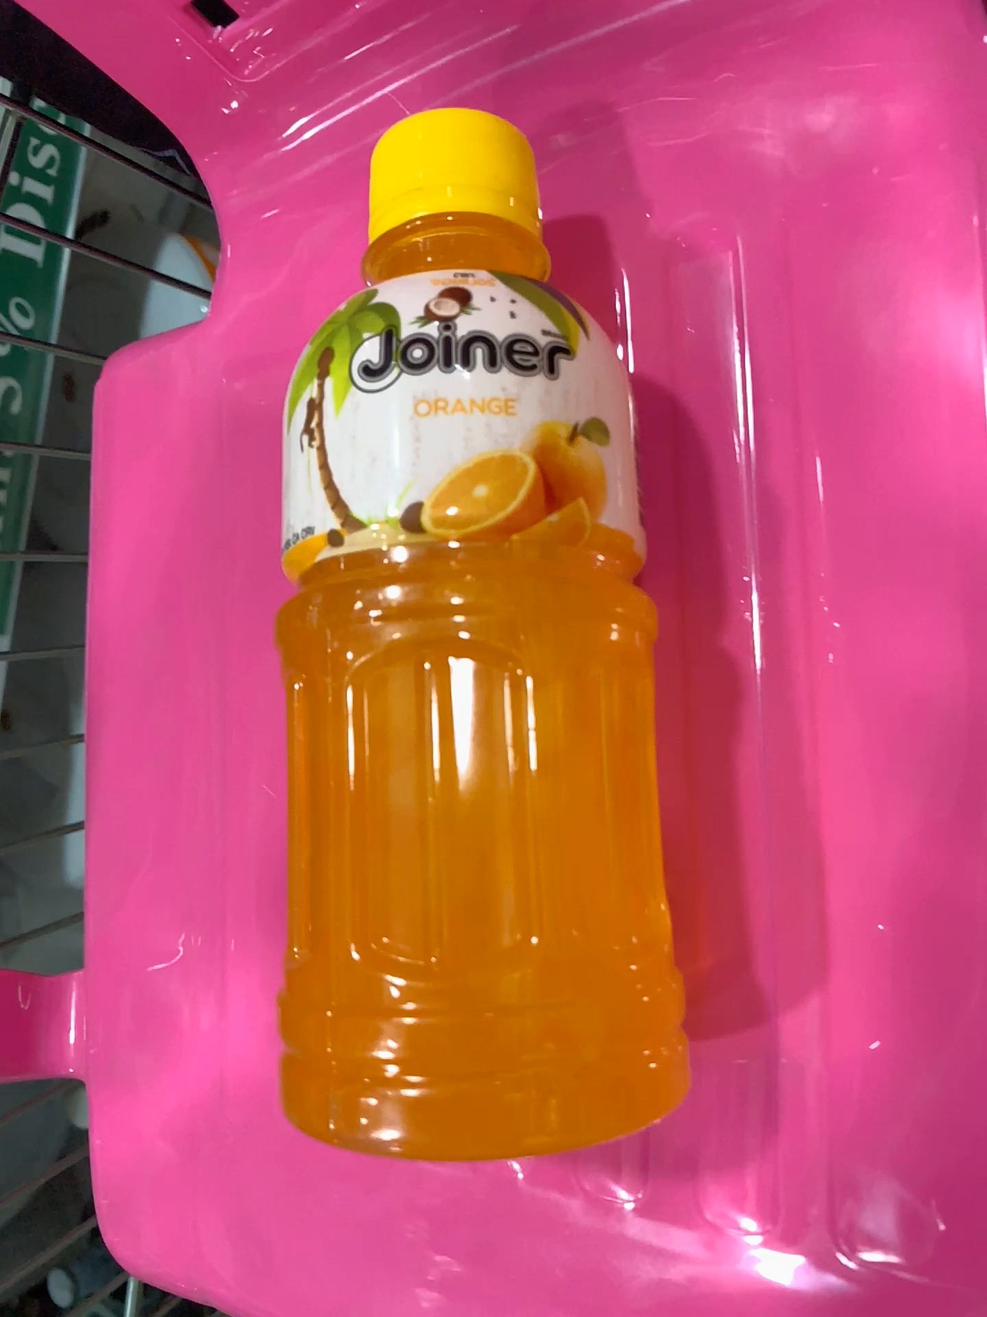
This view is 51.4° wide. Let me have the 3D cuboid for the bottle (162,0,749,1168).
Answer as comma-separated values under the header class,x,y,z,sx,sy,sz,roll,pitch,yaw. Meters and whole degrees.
class,x,y,z,sx,sy,sz,roll,pitch,yaw
bottle,-0.003,-0.019,0.165,0.070,0.060,0.170,-4,85,10
